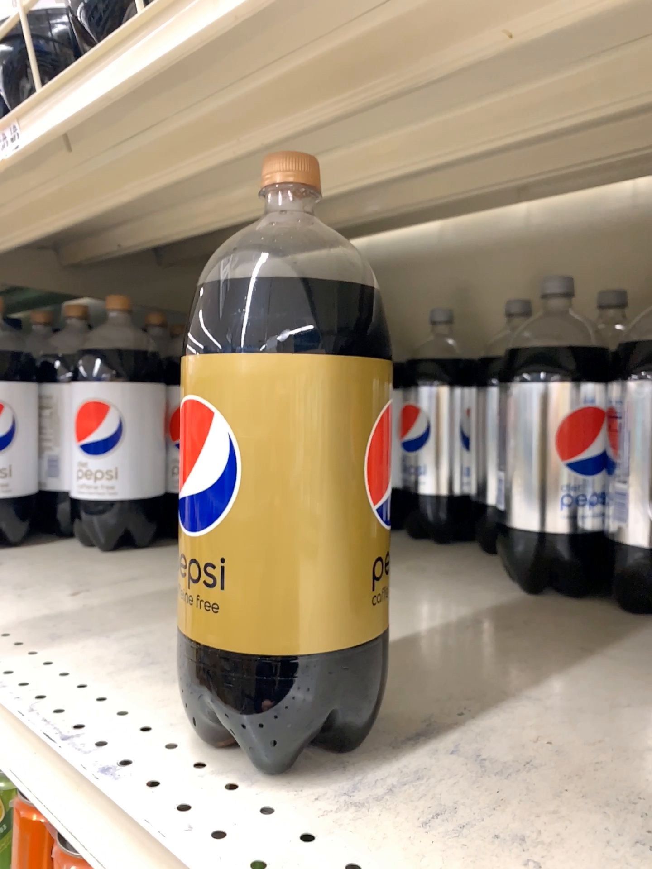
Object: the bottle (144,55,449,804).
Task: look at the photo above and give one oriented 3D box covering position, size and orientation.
[{"bbox_3d":[-0.018,-0.003,0.347,0.110,0.300,0.110,1,2,0],"label":"bottle"}]
